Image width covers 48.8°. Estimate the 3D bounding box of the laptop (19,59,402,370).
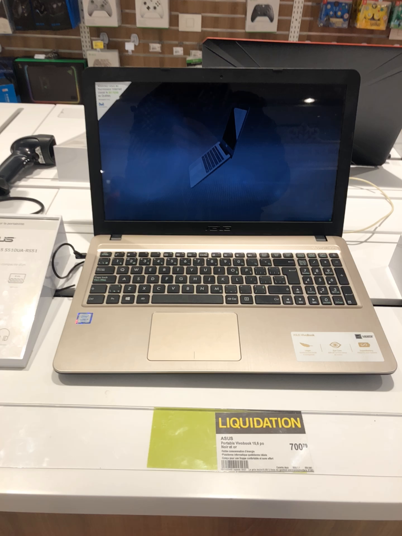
[{"bbox_3d":[0.029,-0.086,0.551,0.370,0.204,0.339,1,42,-2],"label":"laptop"}]
